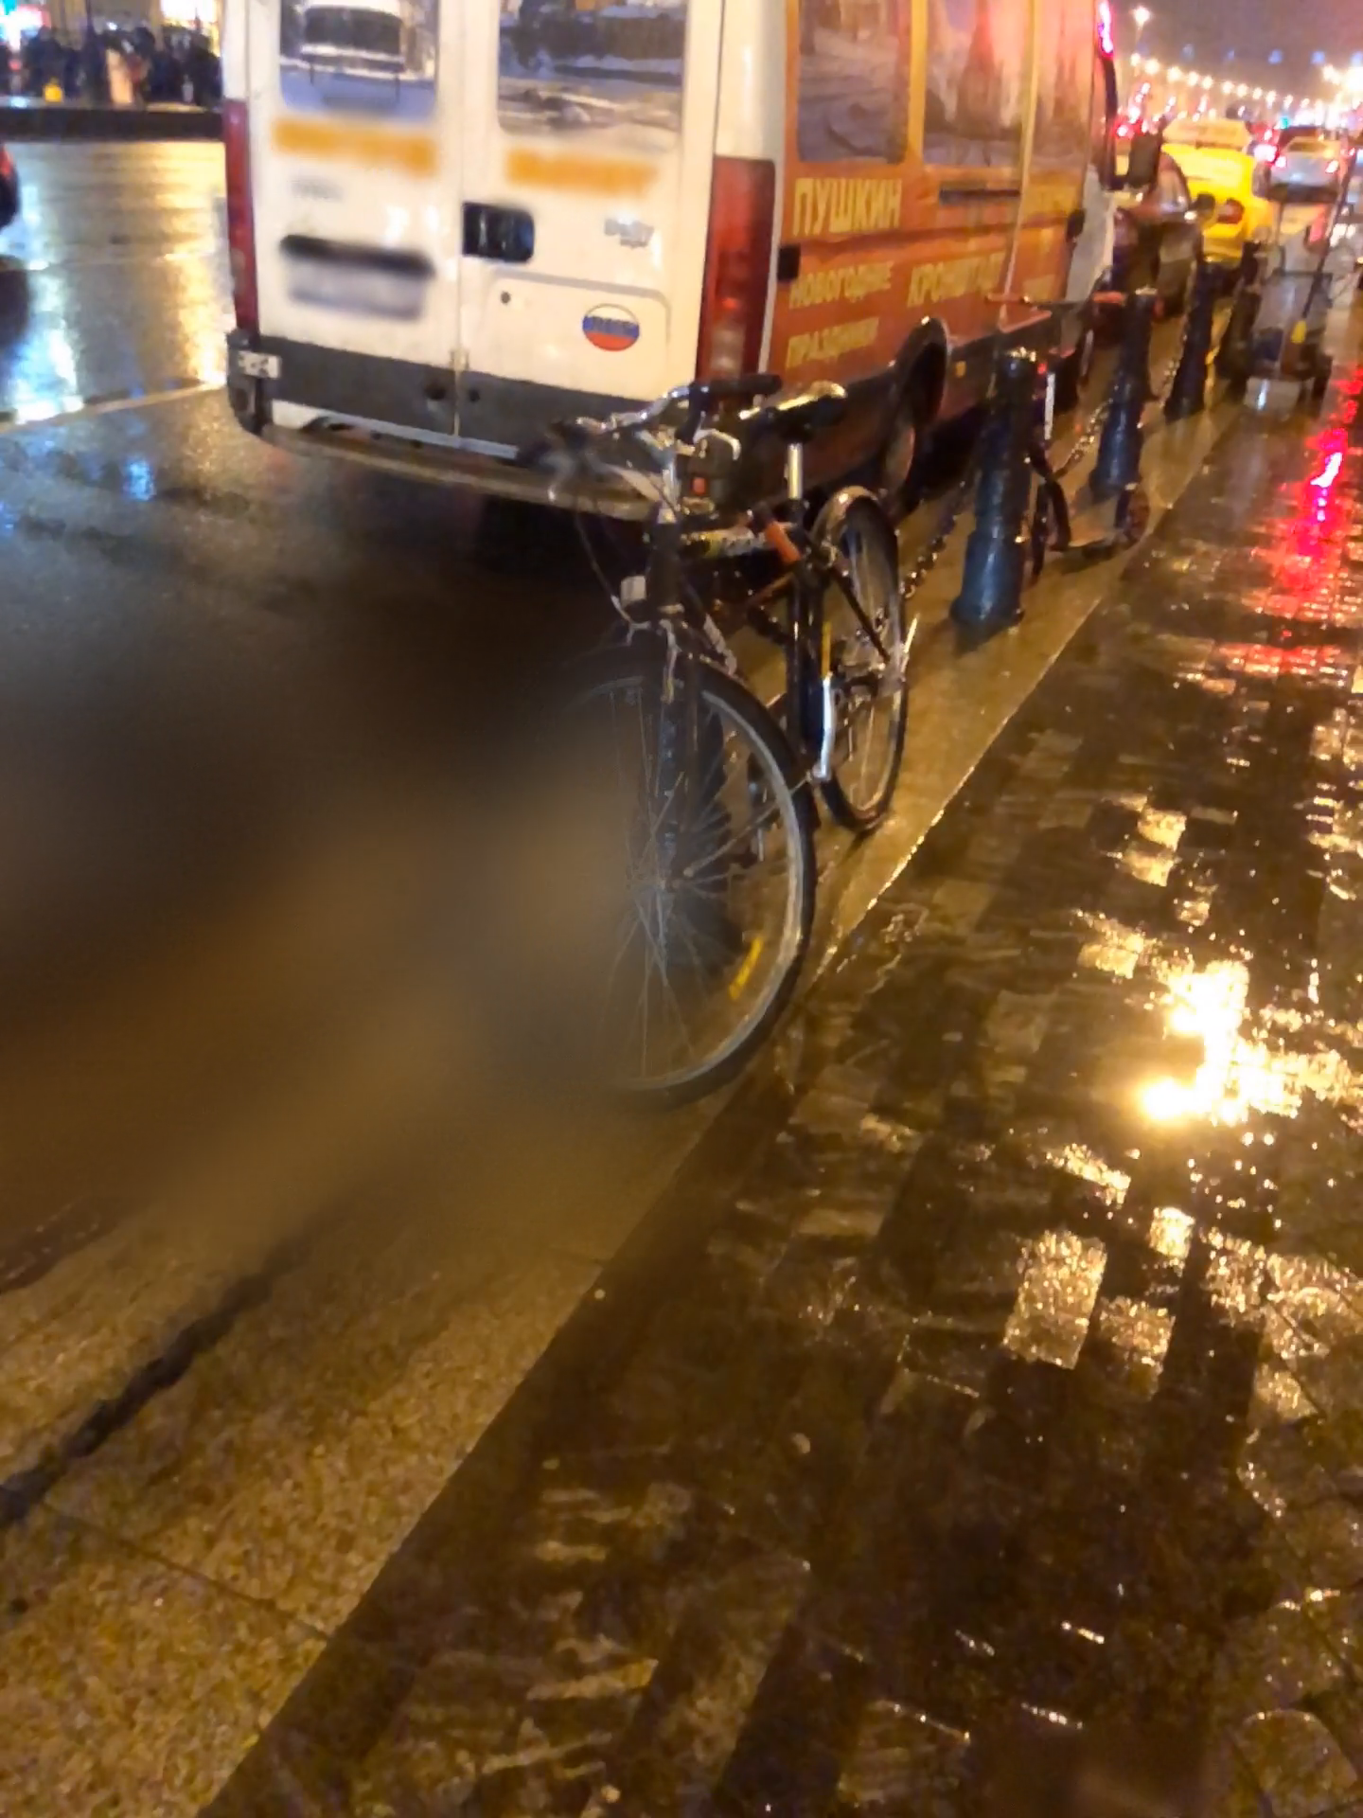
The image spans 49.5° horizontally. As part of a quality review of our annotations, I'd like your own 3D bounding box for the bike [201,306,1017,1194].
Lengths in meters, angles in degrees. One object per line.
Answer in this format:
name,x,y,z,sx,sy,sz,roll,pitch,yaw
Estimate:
bike,0.022,-0.461,2.648,0.553,0.961,1.757,15,30,22
